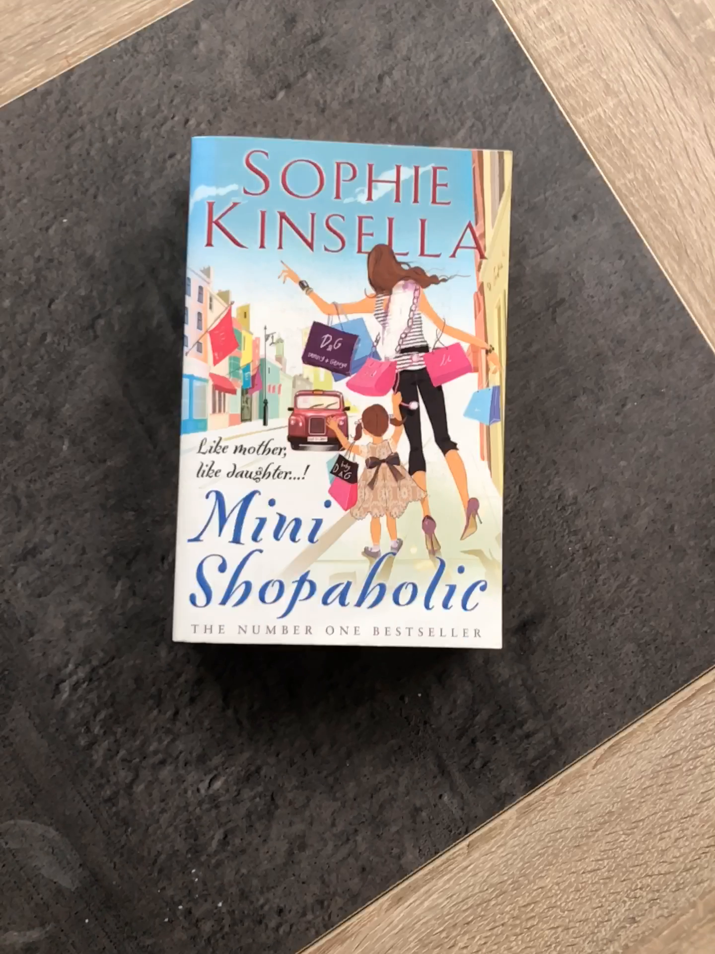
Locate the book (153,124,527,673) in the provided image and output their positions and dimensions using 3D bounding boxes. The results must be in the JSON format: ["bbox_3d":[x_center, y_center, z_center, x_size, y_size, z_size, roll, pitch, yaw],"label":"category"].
[{"bbox_3d":[-0.005,-0.029,0.312,0.132,0.036,0.200,2,87,-2],"label":"book"}]
